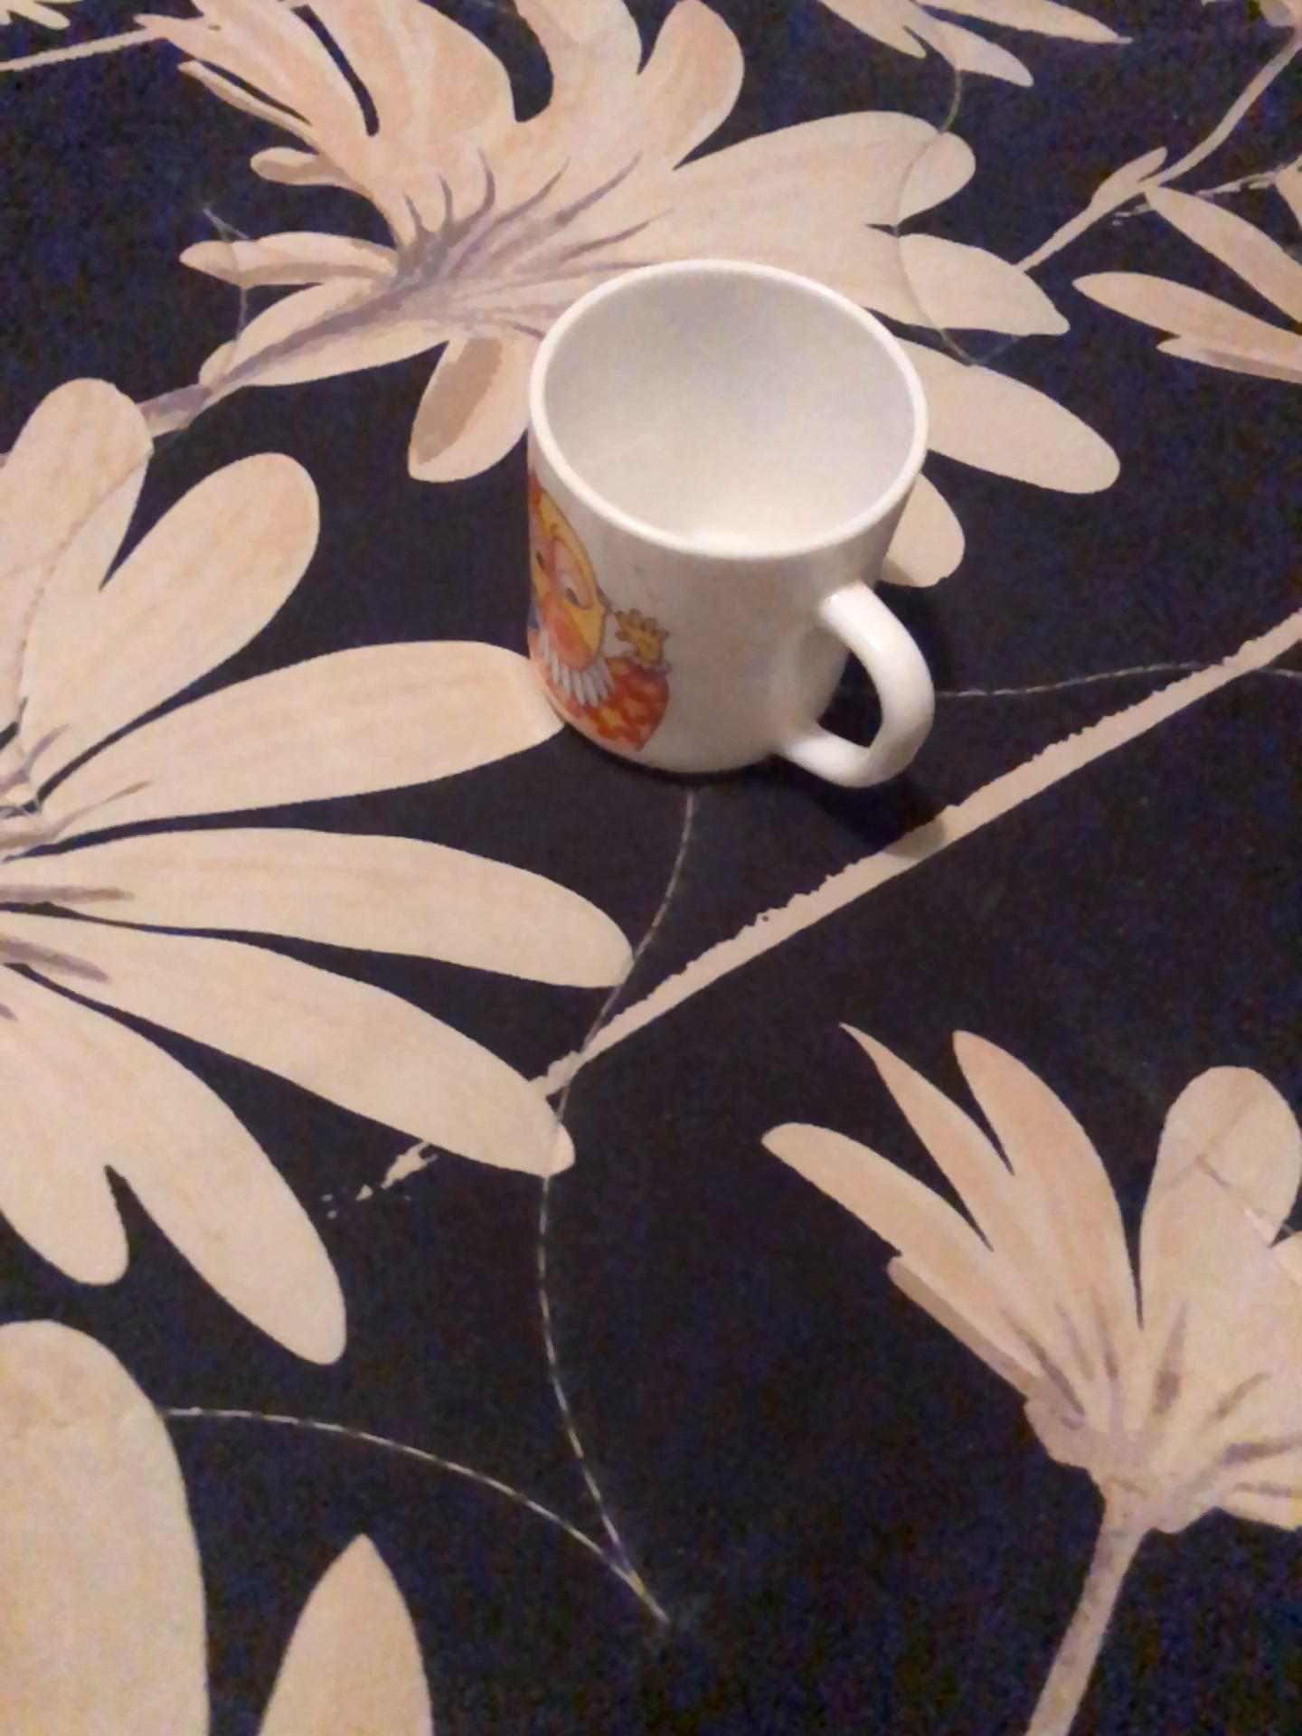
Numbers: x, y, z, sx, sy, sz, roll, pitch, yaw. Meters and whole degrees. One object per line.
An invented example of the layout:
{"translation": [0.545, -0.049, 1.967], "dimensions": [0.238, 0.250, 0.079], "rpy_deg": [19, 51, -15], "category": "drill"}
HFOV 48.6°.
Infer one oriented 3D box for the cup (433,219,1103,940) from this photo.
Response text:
{"translation": [0.017, -0.062, 0.303], "dimensions": [0.085, 0.077, 0.108], "rpy_deg": [-21, 61, -17], "category": "cup"}
